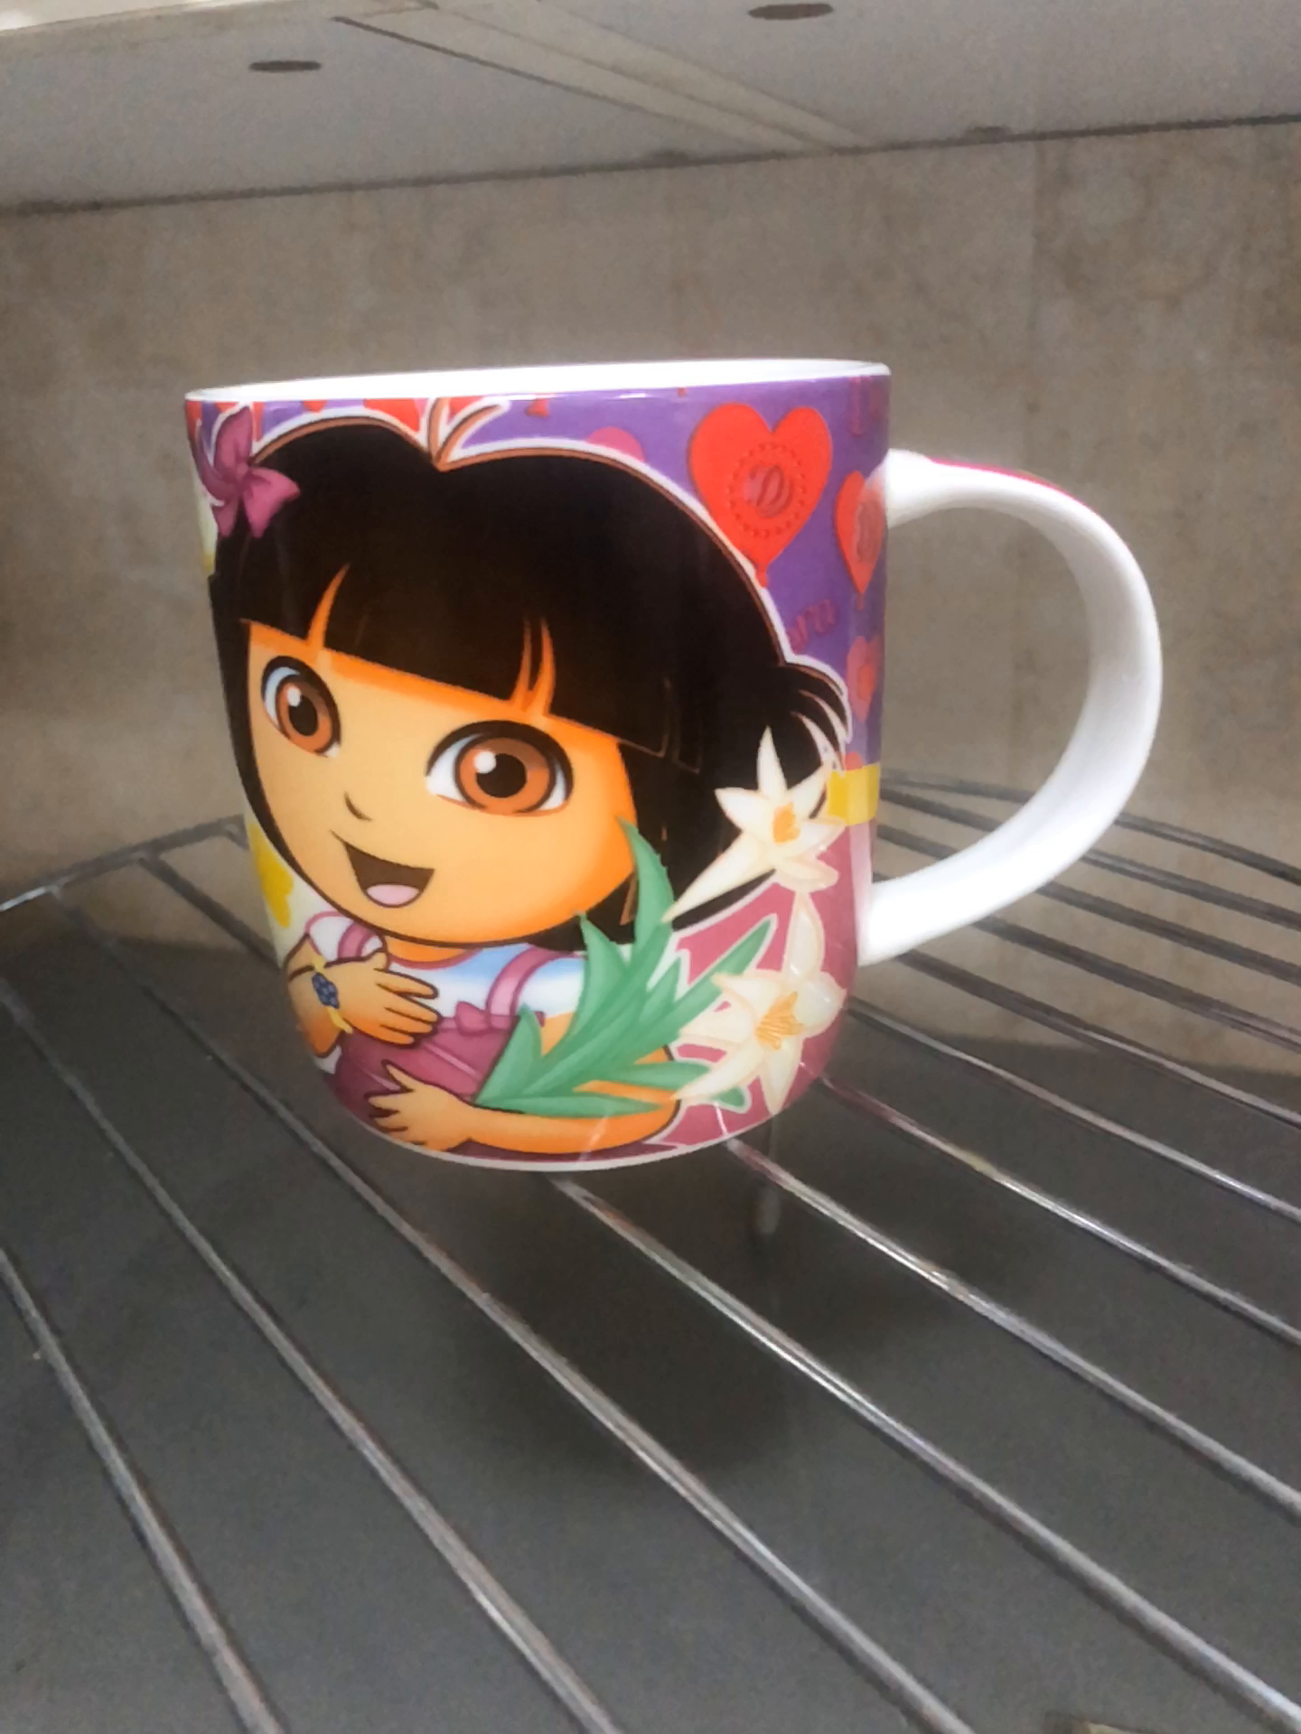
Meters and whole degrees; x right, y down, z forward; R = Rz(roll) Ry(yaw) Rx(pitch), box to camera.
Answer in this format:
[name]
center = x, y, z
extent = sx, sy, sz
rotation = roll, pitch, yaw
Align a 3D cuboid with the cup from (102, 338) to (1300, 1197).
[cup]
center = 0.008, -0.019, 0.188
extent = 0.120, 0.090, 0.070
rotation = -2, 20, -2
